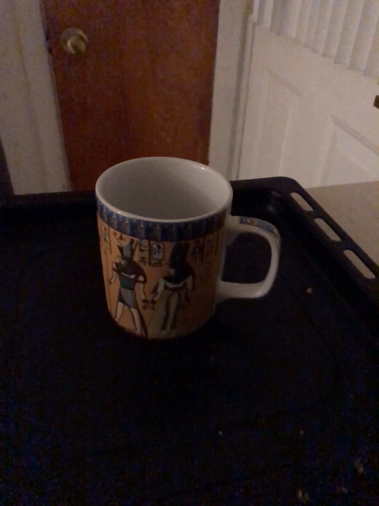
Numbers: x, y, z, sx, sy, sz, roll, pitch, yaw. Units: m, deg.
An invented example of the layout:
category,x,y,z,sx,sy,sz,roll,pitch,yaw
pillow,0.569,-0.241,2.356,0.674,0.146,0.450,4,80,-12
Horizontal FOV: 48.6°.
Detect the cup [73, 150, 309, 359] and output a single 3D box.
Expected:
category,x,y,z,sx,sy,sz,roll,pitch,yaw
cup,0.003,-0.002,0.270,0.120,0.089,0.081,7,38,5
